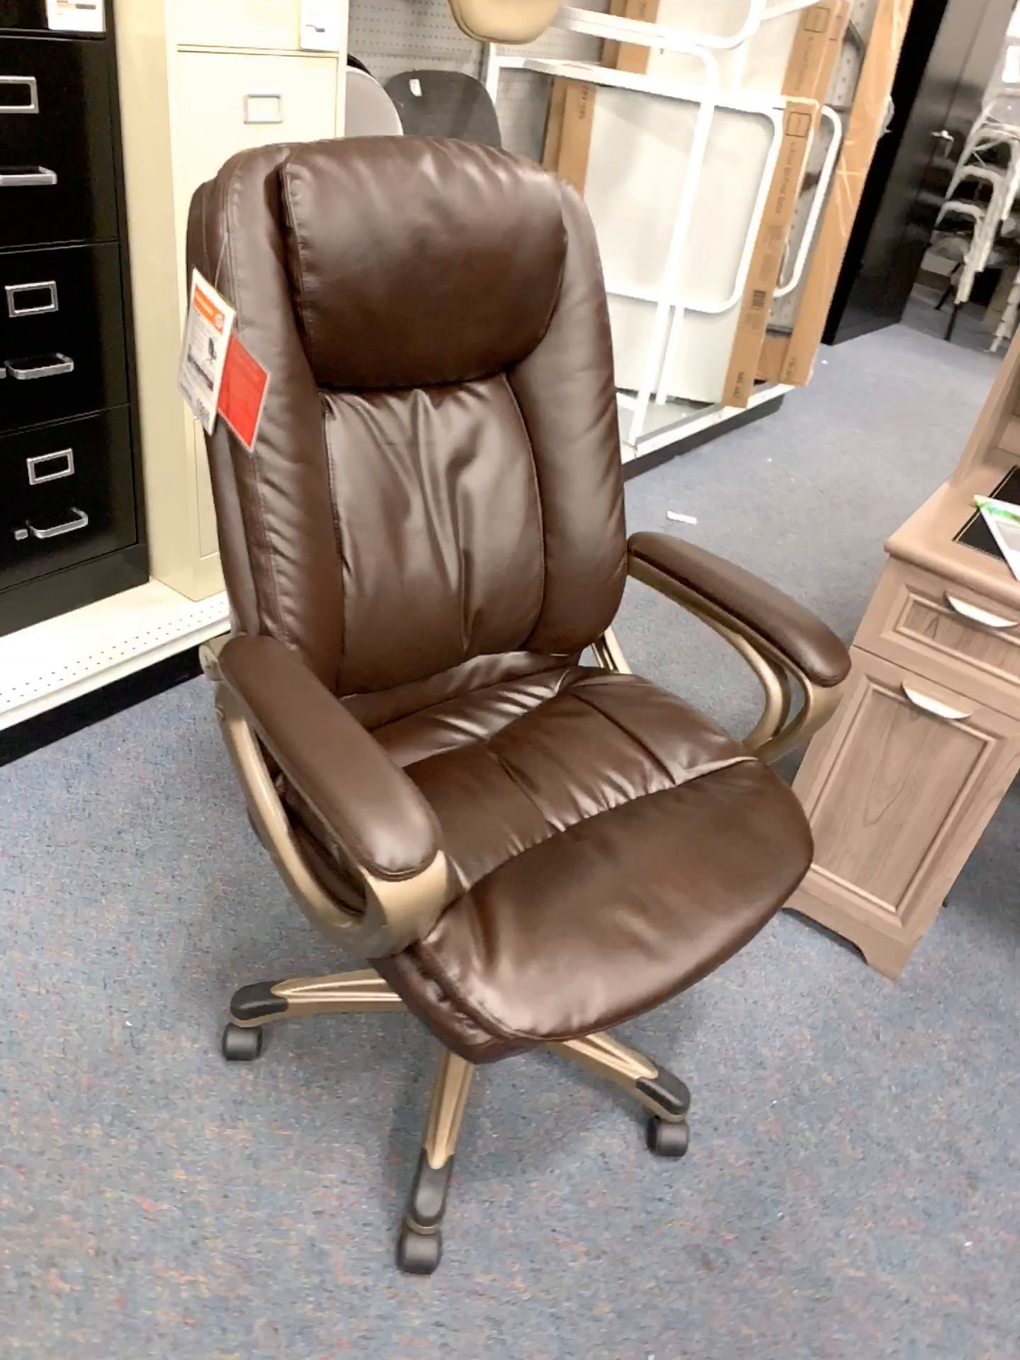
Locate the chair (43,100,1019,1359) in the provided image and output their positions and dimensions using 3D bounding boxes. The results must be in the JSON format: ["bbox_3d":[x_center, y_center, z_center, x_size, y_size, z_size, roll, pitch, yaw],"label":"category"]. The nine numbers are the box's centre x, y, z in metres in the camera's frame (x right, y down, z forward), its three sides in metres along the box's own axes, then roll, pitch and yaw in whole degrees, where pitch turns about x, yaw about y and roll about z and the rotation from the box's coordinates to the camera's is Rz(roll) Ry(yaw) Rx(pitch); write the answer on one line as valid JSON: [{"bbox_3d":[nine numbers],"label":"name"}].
[{"bbox_3d":[-0.014,0.019,1.274,0.726,1.112,0.814,-17,43,-34],"label":"chair"}]
